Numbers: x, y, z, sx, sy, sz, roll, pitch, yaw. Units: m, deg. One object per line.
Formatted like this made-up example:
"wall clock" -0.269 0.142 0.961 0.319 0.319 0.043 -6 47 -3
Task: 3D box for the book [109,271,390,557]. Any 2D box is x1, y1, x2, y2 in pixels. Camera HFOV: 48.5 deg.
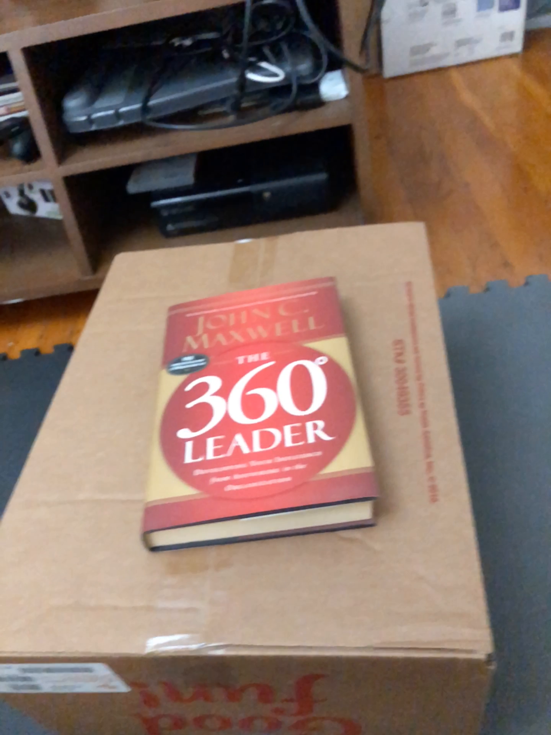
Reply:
"book" -0.020 0.021 0.484 0.180 0.030 0.241 -9 44 7
